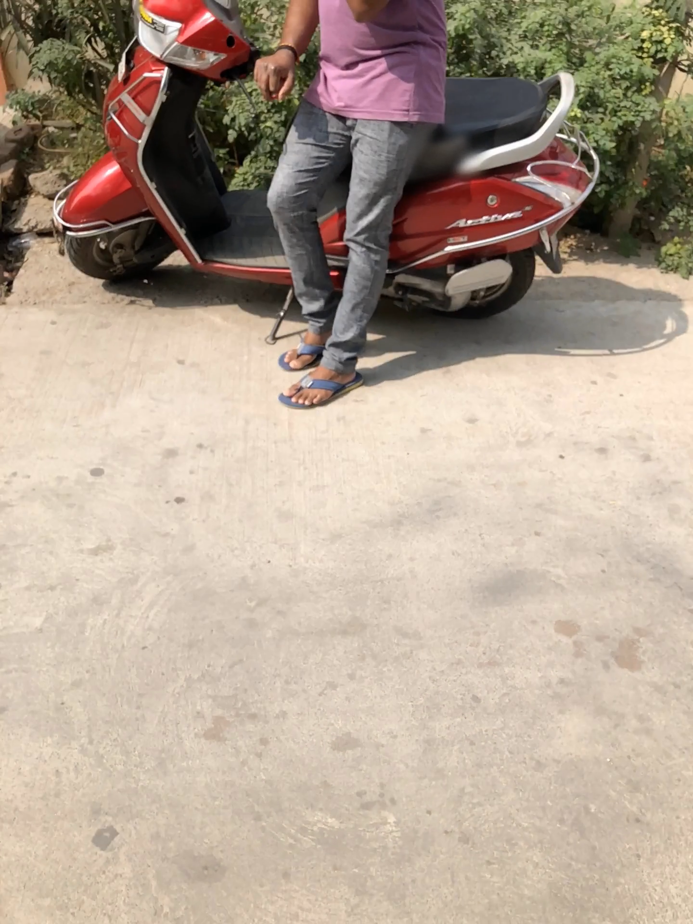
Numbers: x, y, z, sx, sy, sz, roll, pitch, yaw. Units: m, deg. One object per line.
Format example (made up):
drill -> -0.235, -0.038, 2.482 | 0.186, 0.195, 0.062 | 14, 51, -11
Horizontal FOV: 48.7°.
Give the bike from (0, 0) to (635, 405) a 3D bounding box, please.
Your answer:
bike -> -0.161, -0.875, 2.303 | 1.581, 1.157, 0.626 | 4, 38, 4
